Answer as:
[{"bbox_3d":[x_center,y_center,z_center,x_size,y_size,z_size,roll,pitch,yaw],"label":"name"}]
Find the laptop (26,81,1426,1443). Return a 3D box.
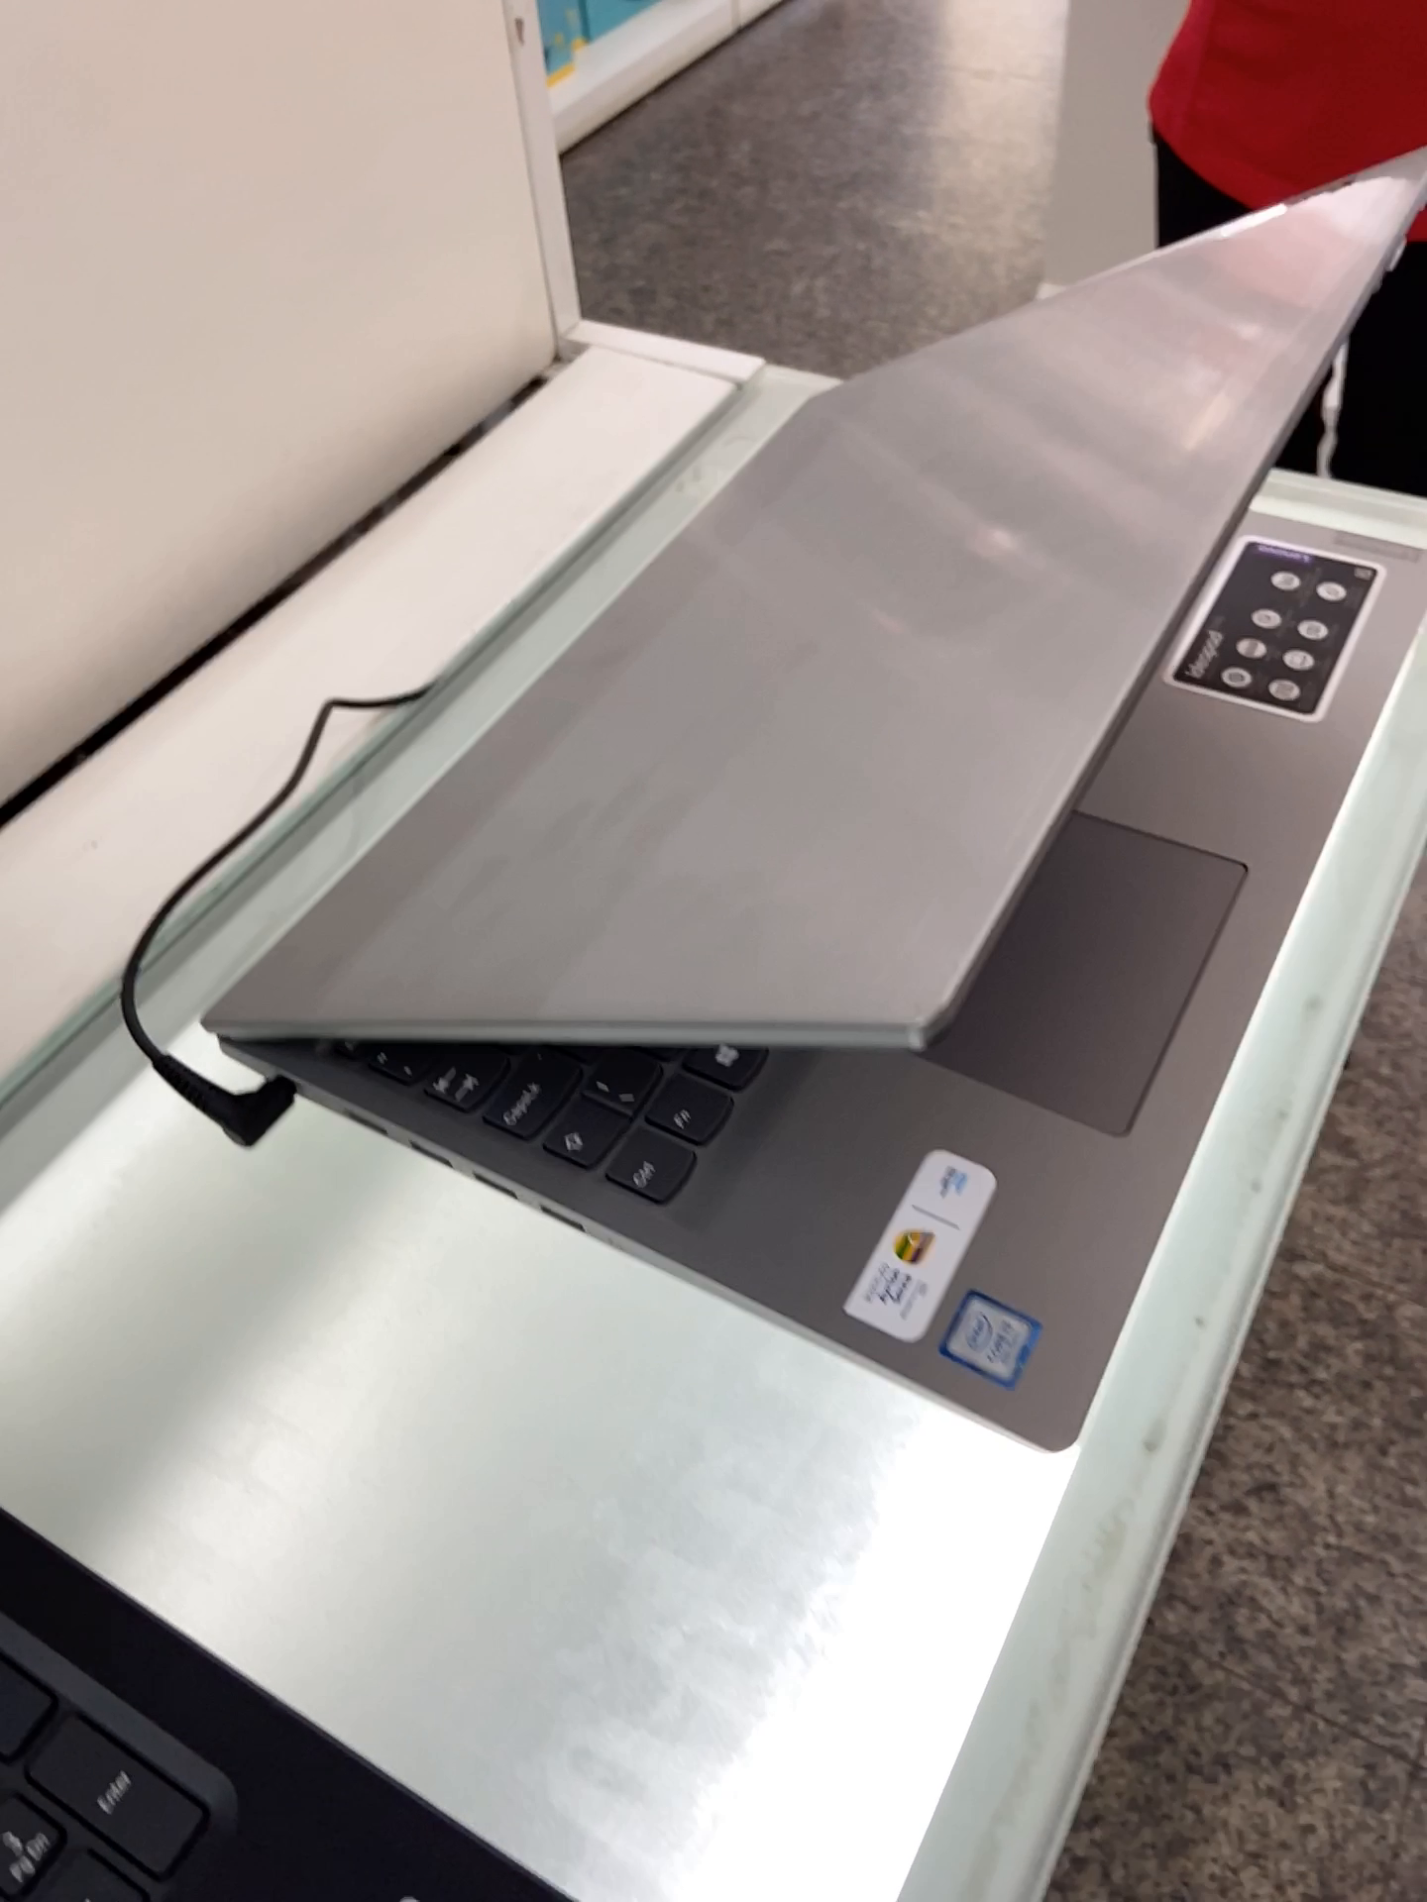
[{"bbox_3d":[0.052,-0.097,0.406,0.239,0.122,0.355,21,54,22],"label":"laptop"}]
